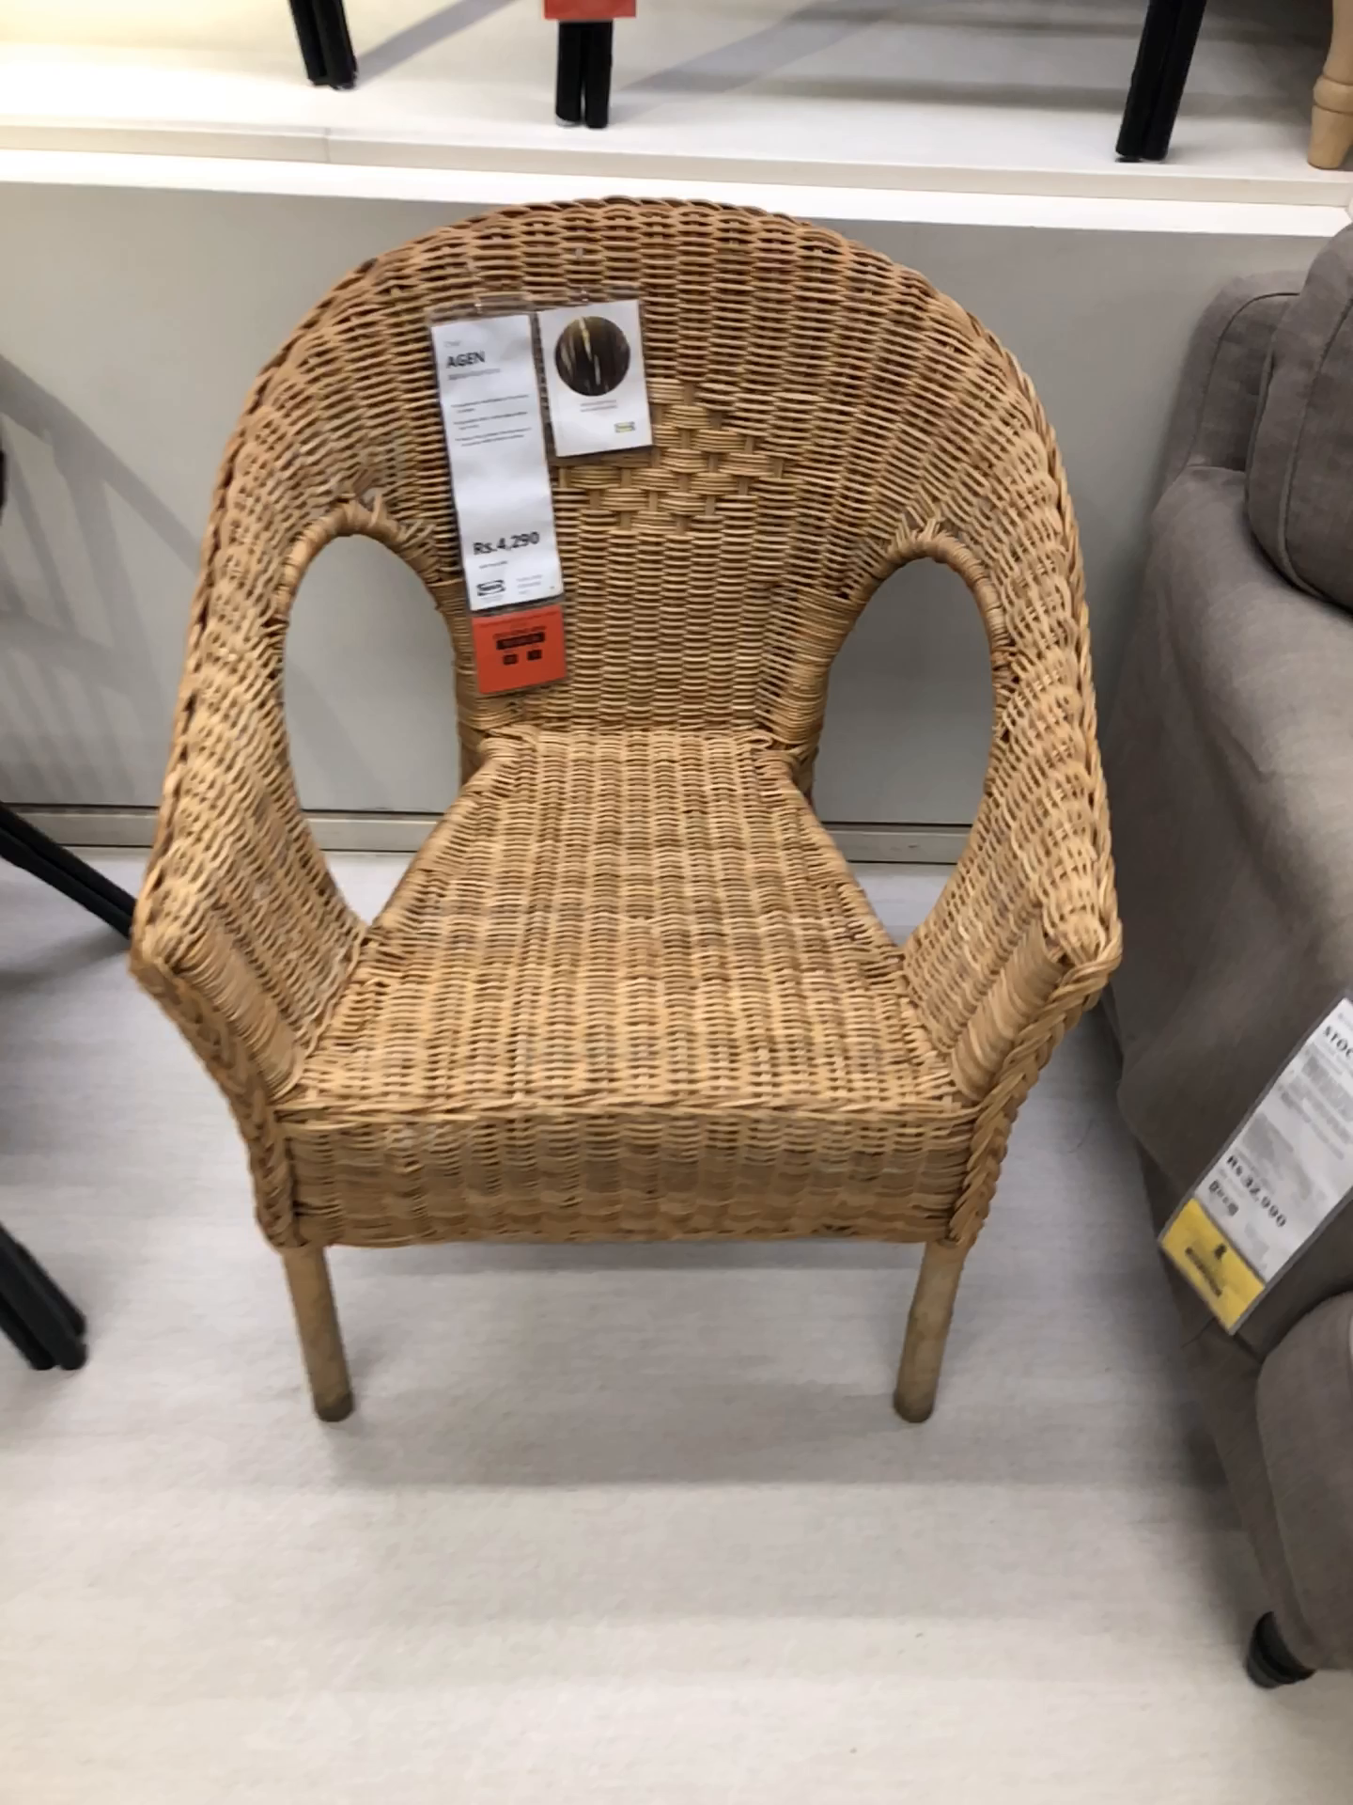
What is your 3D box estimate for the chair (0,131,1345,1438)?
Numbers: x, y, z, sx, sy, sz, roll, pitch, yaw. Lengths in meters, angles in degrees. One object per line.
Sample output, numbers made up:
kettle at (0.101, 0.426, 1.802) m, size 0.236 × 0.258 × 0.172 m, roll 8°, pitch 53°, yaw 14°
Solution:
chair at (-0.018, -0.053, 1.059) m, size 0.550 × 0.695 × 0.604 m, roll 1°, pitch 48°, yaw -2°
